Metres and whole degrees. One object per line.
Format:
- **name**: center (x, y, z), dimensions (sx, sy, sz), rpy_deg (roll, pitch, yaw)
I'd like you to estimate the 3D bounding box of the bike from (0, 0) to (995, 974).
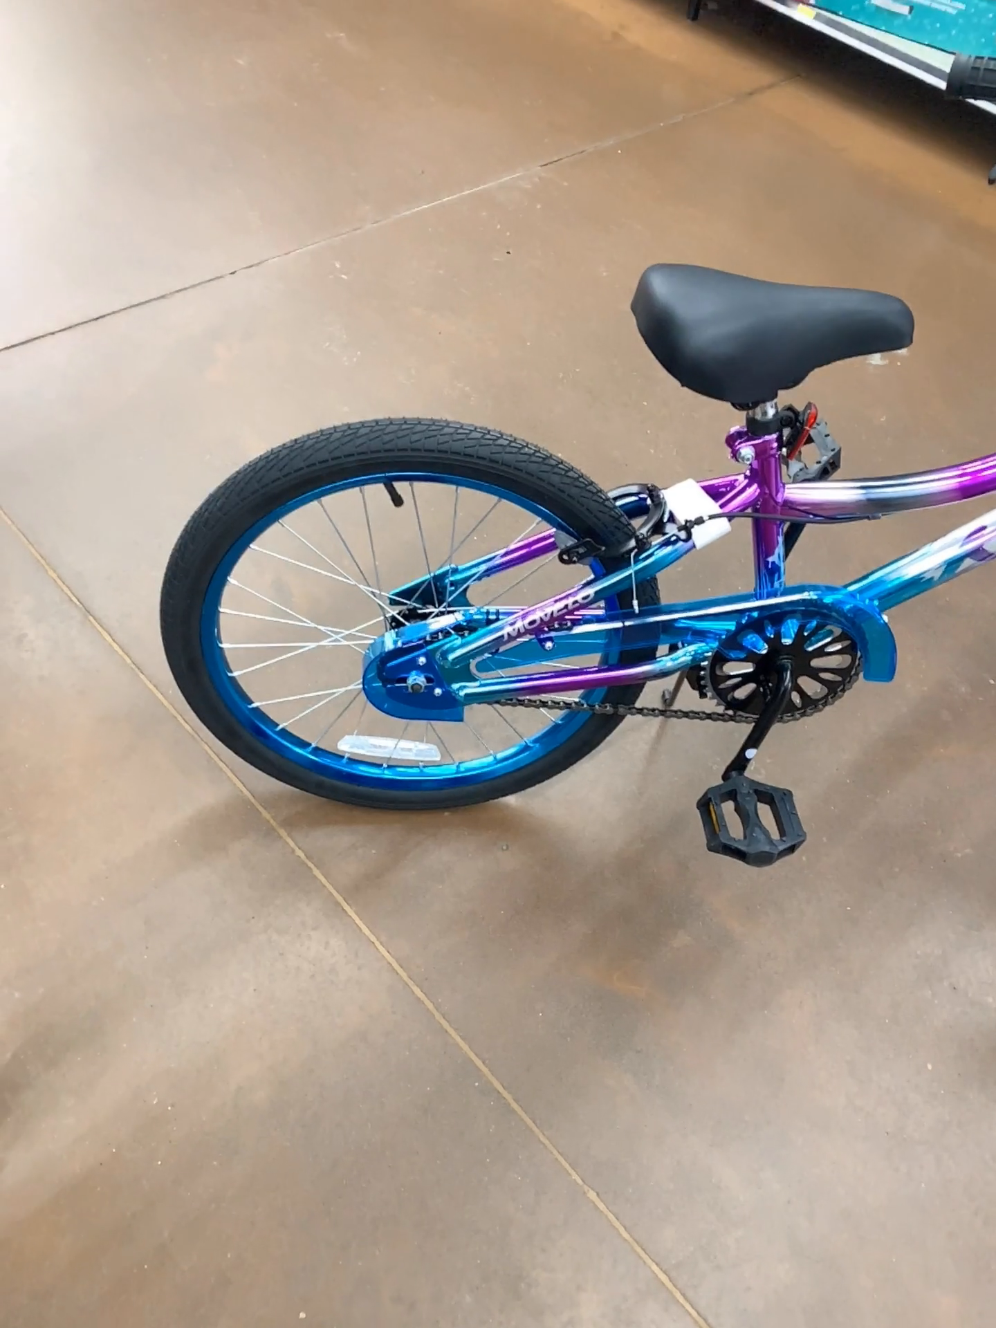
- **bike**: center (0.281, -0.274, 0.952), dimensions (1.120, 0.877, 0.622), rpy_deg (-3, 53, -13)
